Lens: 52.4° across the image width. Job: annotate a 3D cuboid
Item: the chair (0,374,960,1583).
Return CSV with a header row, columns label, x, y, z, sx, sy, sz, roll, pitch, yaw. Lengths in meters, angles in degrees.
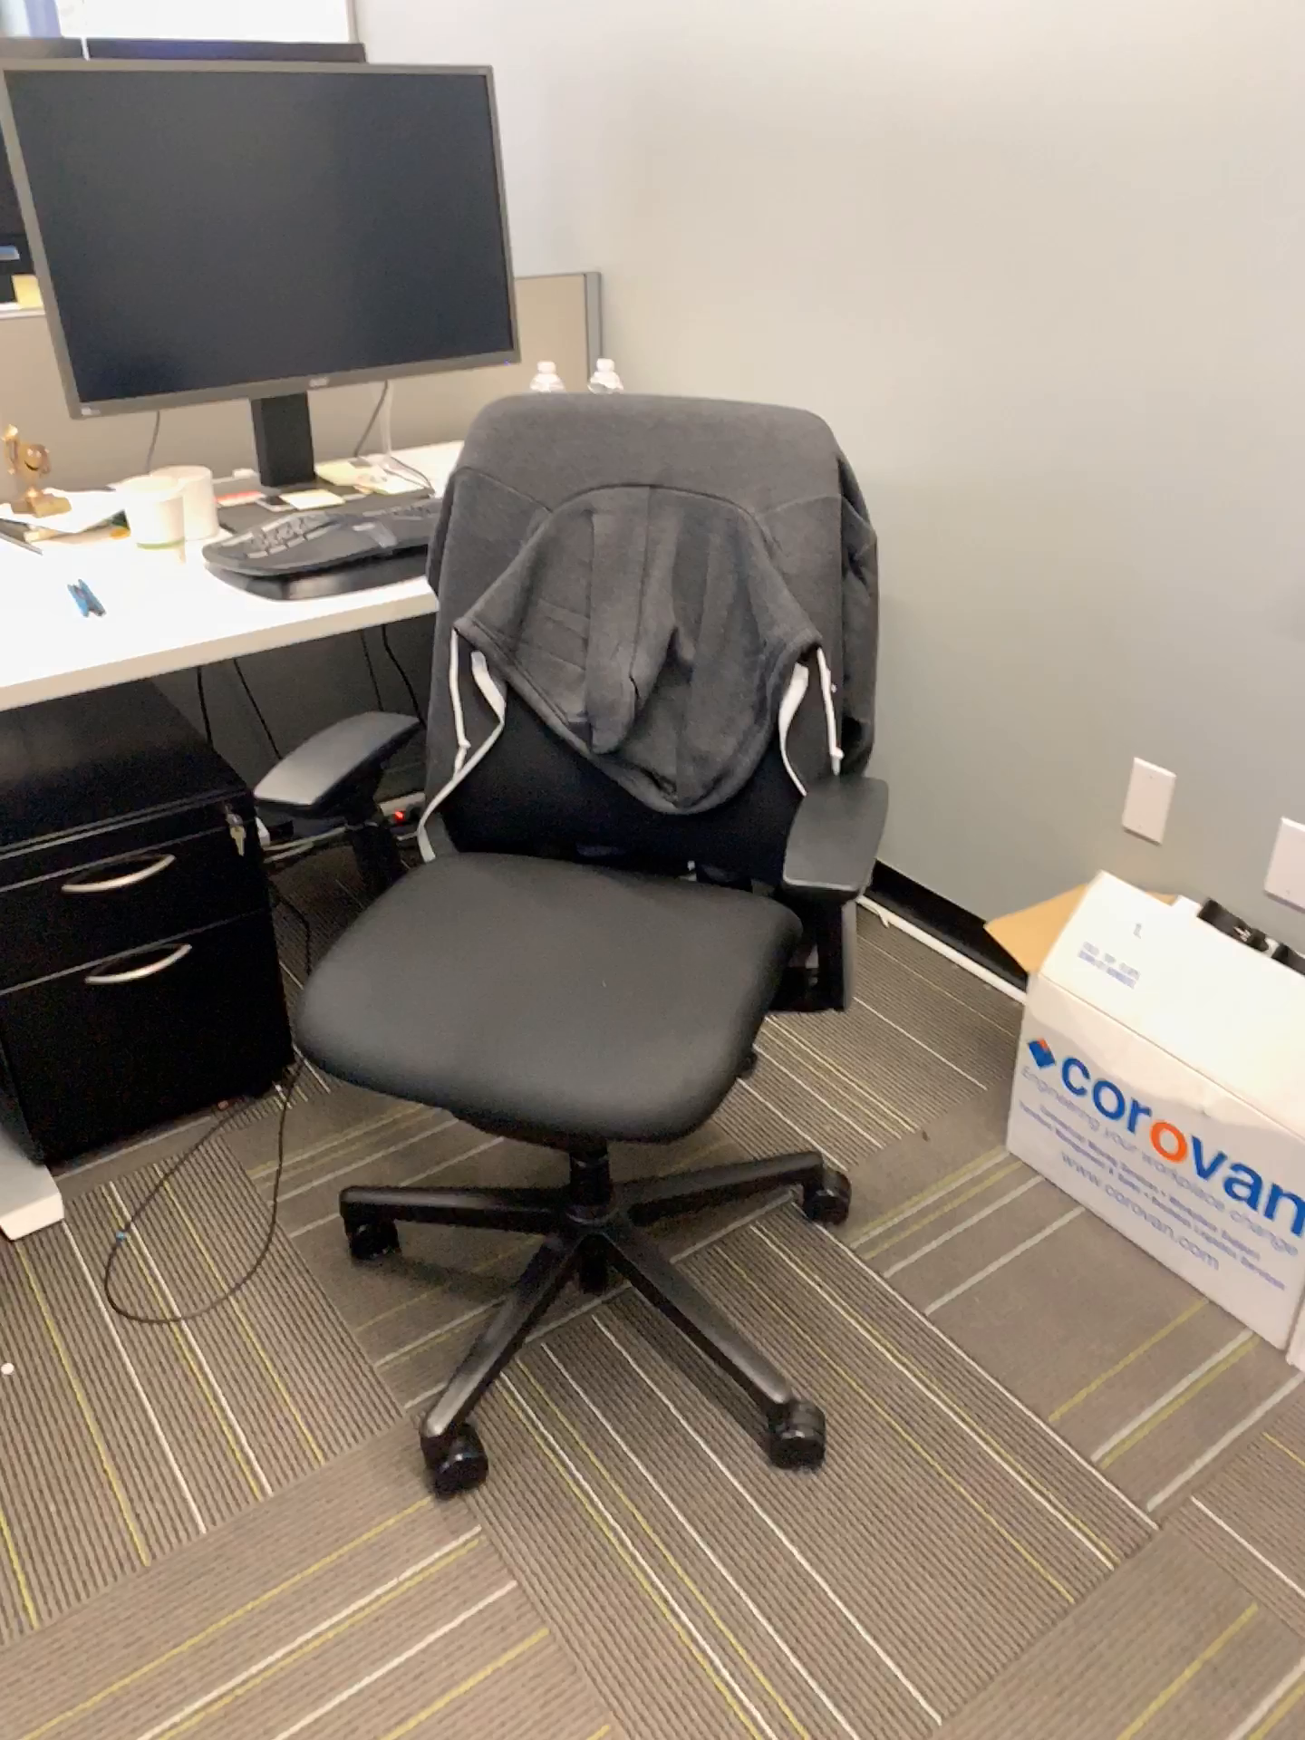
label,x,y,z,sx,sy,sz,roll,pitch,yaw
chair,-0.071,0.049,1.497,0.681,0.994,0.804,7,31,12
